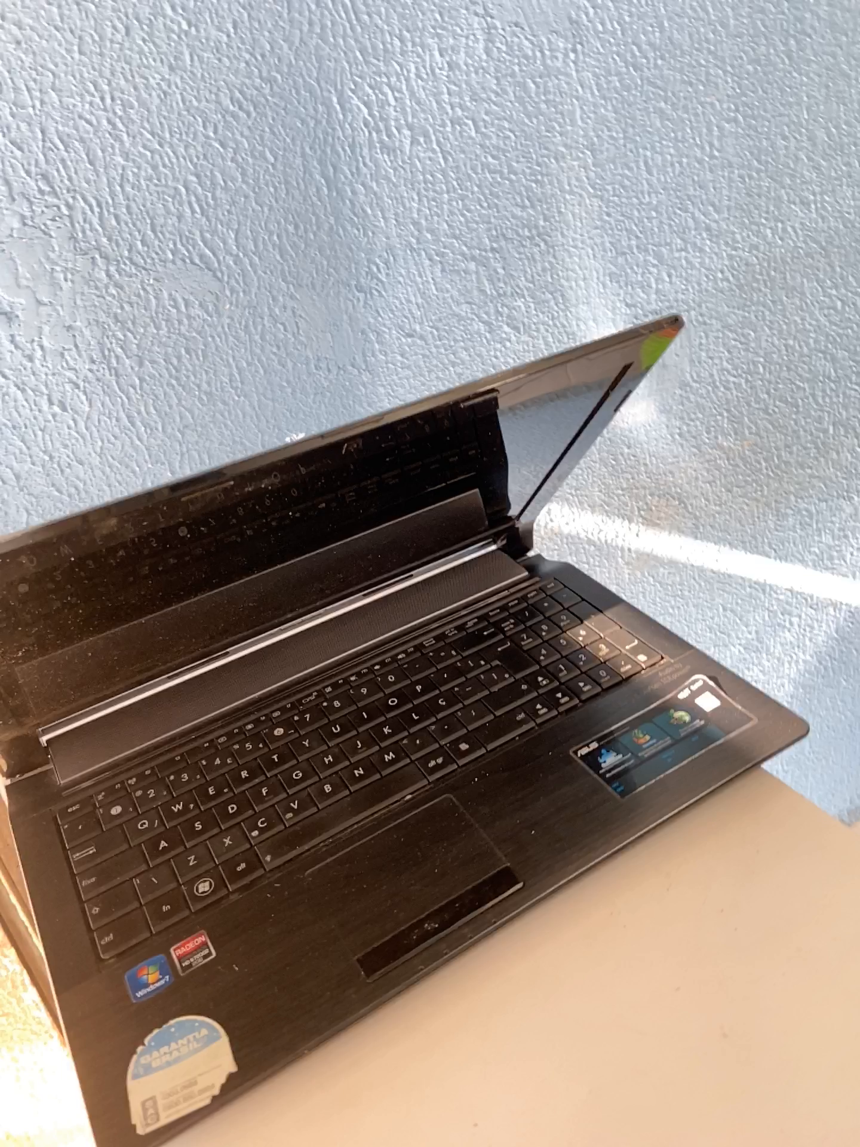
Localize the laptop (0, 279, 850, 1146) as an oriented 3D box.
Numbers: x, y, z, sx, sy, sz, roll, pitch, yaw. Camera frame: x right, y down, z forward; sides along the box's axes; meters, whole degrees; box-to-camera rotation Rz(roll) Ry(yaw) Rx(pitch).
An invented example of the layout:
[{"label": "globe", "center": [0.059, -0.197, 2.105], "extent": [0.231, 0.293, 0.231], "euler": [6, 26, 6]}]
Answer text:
[{"label": "laptop", "center": [-0.034, 0.014, 0.453], "extent": [0.388, 0.208, 0.256], "euler": [-22, 33, -23]}]
